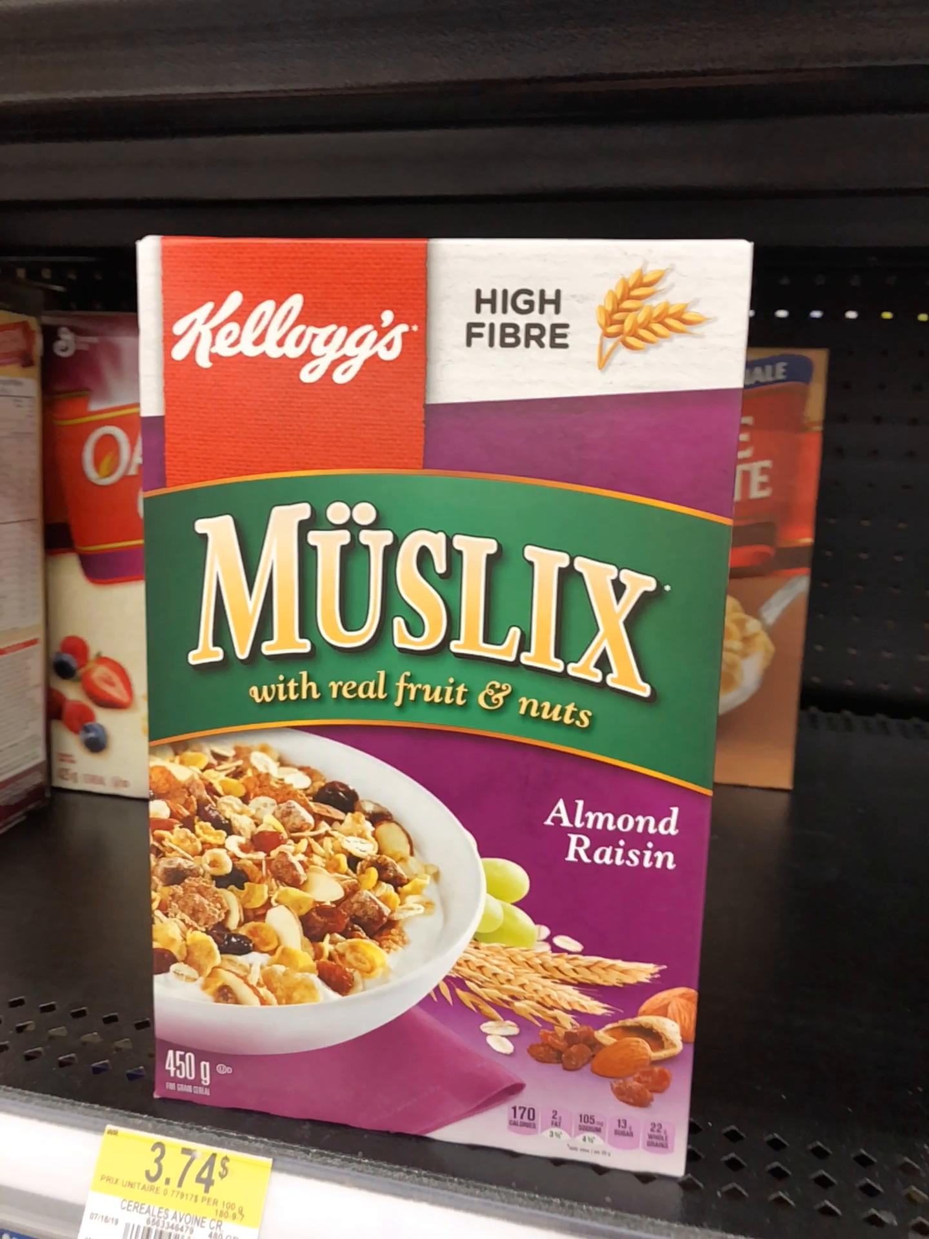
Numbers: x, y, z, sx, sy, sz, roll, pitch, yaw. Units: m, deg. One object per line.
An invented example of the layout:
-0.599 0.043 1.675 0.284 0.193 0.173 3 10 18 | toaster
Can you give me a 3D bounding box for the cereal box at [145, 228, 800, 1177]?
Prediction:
-0.002 0.022 0.316 0.170 0.259 0.060 4 11 10 | cereal box
